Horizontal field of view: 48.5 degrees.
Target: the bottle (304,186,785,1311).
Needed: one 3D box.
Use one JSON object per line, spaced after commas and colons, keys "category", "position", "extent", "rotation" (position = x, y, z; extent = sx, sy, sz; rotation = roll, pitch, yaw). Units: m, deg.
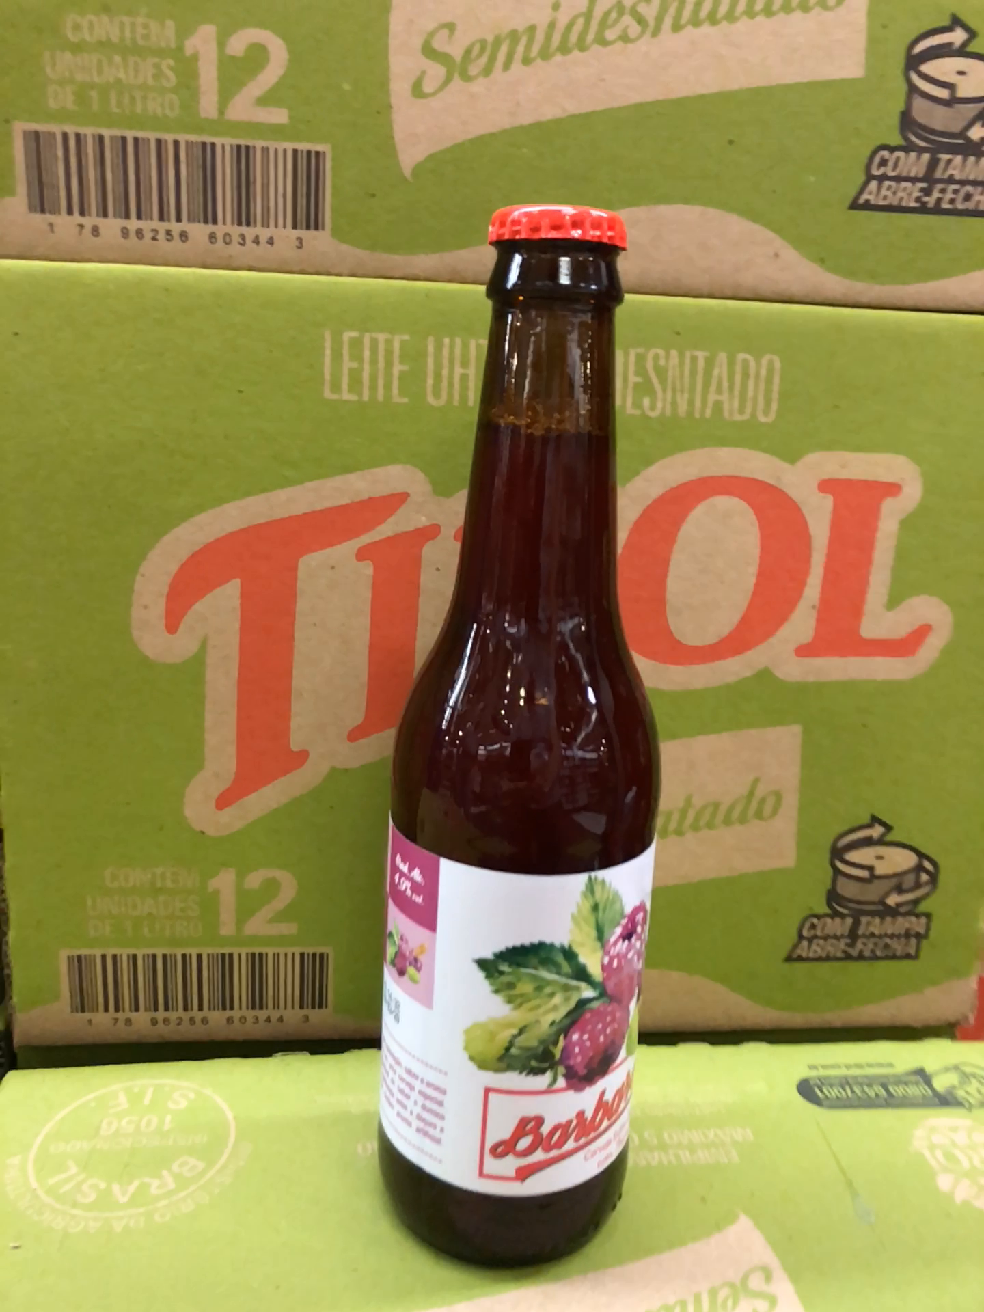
{"category": "bottle", "position": [0.008, 0.026, 0.242], "extent": [0.060, 0.229, 0.070], "rotation": [14, 16, 35]}
